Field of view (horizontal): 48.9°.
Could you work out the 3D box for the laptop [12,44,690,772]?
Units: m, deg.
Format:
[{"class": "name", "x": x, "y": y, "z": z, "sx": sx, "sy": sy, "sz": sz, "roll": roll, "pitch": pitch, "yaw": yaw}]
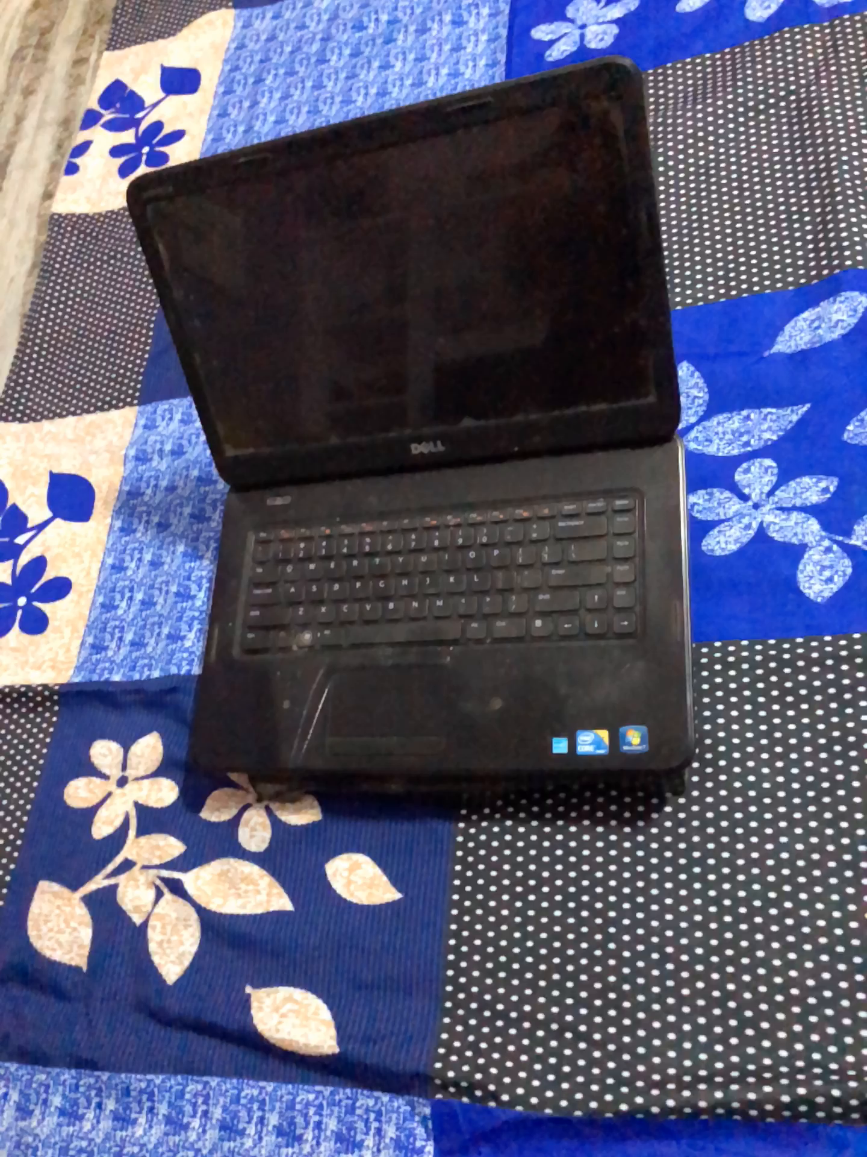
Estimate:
[{"class": "laptop", "x": -0.028, "y": -0.092, "z": 0.647, "sx": 0.363, "sy": 0.187, "sz": 0.390, "roll": -4, "pitch": 66, "yaw": 19}]
